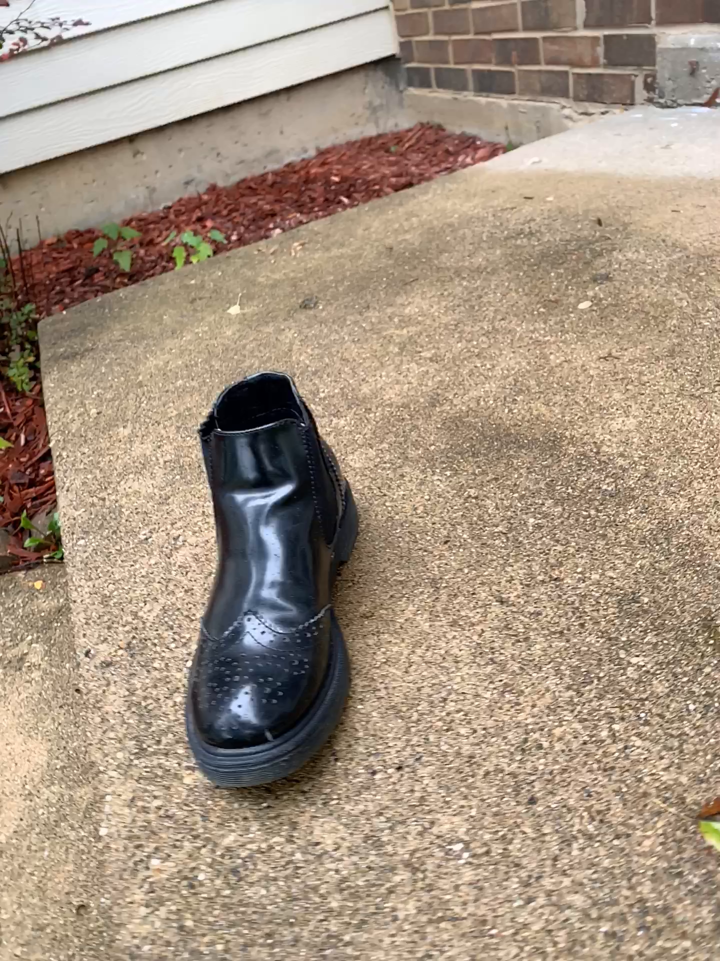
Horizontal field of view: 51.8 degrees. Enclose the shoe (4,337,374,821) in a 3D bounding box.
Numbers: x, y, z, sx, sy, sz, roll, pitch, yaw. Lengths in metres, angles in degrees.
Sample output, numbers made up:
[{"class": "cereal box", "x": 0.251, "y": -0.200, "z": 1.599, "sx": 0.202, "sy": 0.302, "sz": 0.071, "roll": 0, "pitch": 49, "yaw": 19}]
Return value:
[{"class": "shoe", "x": -0.074, "y": 0.045, "z": 0.468, "sx": 0.118, "sy": 0.148, "sz": 0.268, "roll": -7, "pitch": 35, "yaw": 11}]
